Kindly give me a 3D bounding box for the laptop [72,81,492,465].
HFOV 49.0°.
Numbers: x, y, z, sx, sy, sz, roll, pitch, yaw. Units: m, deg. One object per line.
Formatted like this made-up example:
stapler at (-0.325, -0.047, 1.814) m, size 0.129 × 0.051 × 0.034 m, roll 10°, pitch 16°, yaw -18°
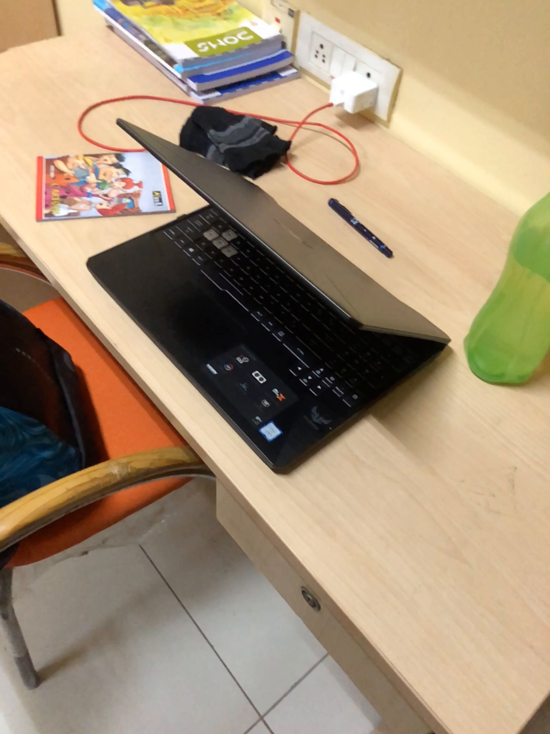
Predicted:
laptop at (-0.007, -0.122, 0.642) m, size 0.248 × 0.147 × 0.339 m, roll -33°, pitch 61°, yaw -25°
